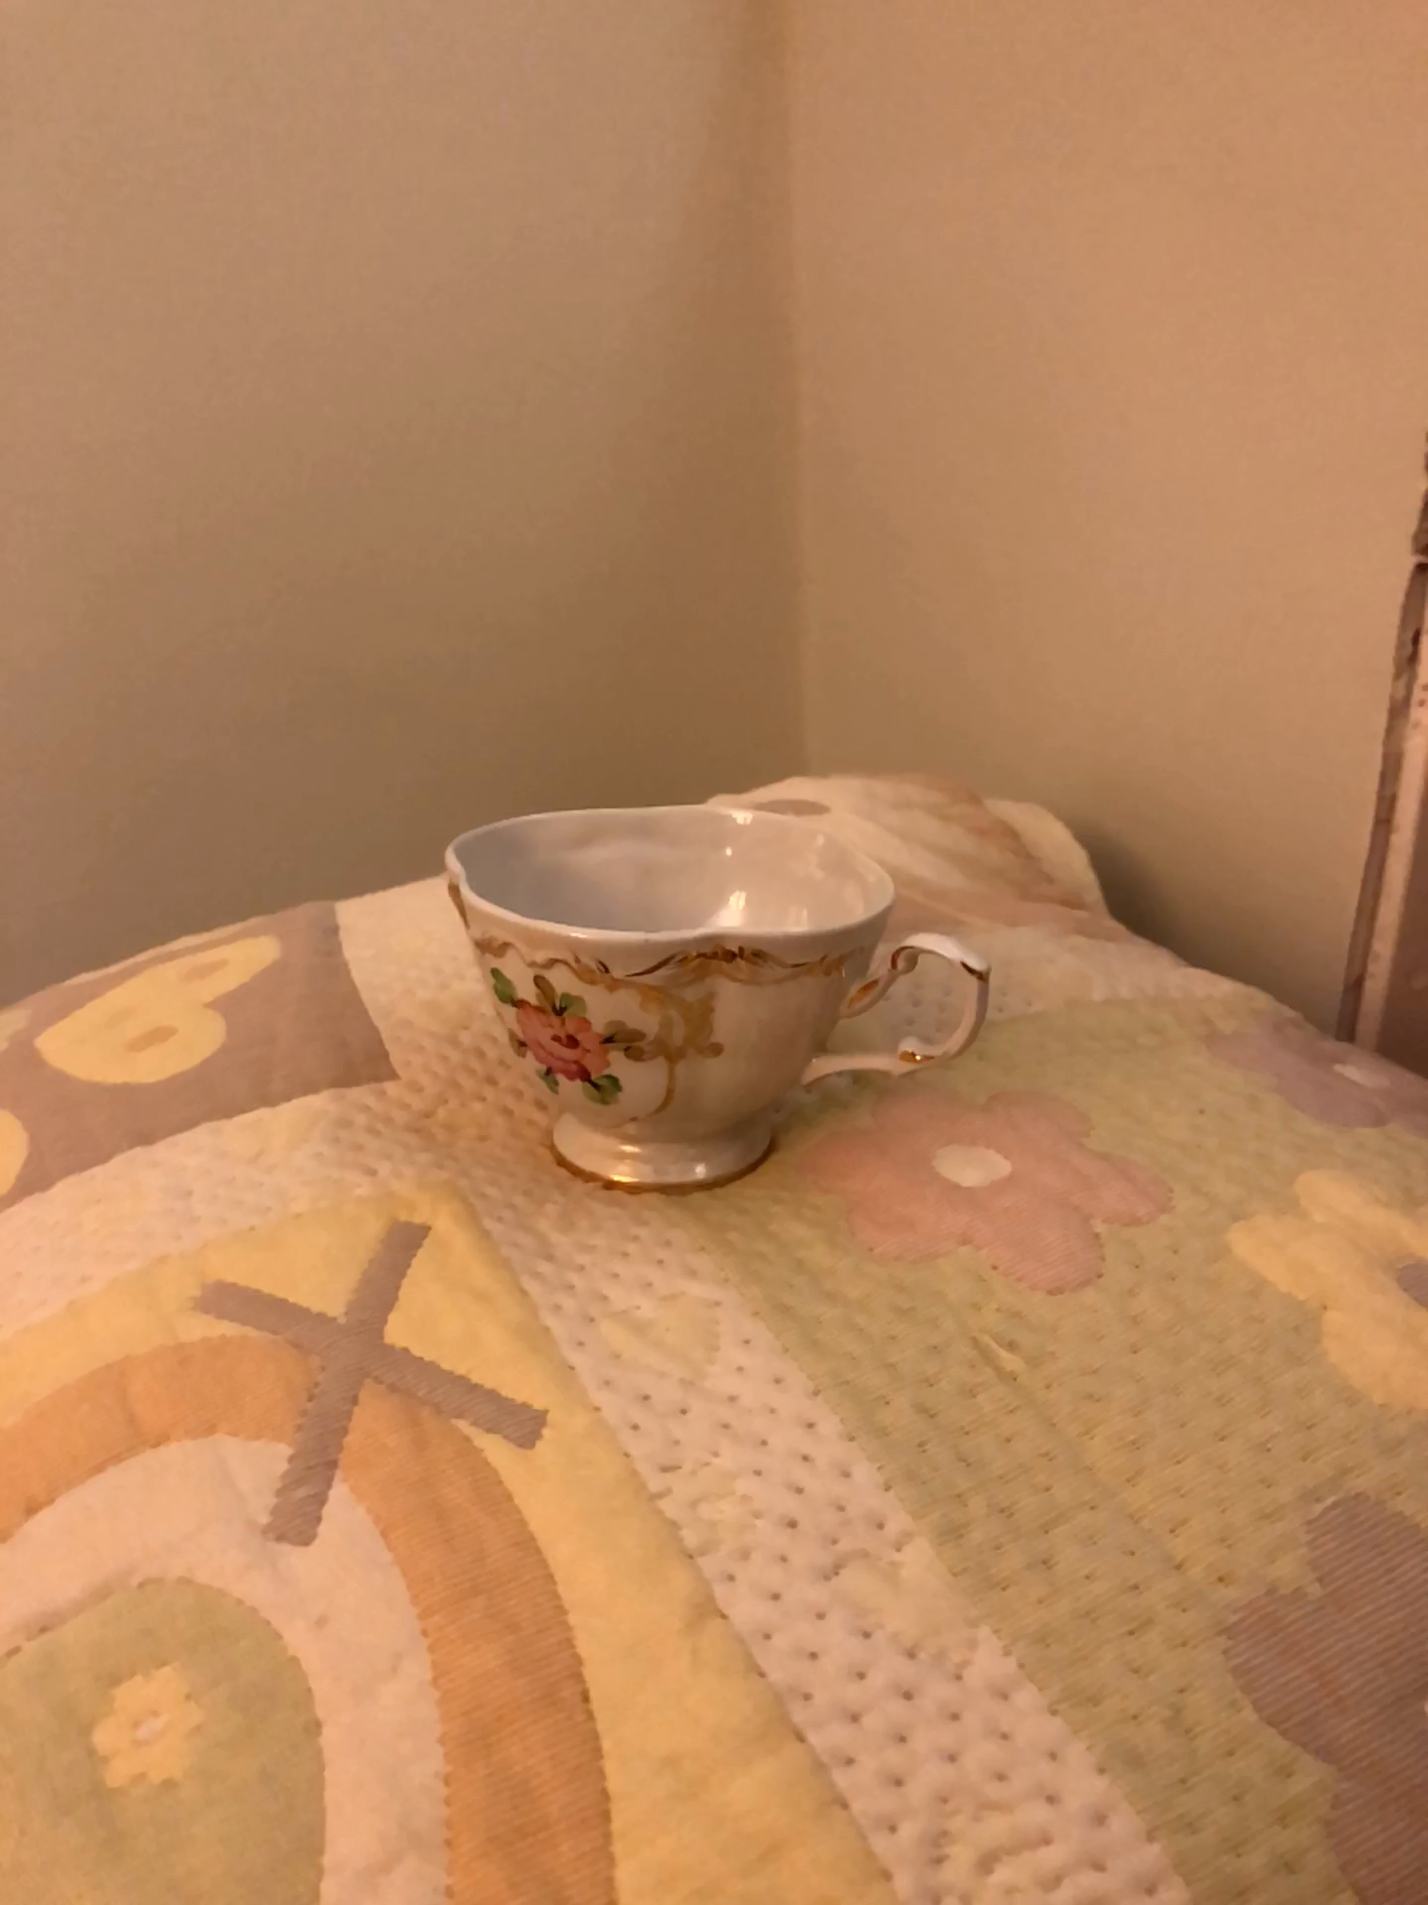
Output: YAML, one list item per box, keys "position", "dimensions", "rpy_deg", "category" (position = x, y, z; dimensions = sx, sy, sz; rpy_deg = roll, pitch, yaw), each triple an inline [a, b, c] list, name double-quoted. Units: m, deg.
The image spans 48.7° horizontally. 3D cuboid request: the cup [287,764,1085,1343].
- position: [-0.004, 0.011, 0.349]
  dimensions: [0.140, 0.070, 0.100]
  rpy_deg: [11, 22, 25]
  category: "cup"
